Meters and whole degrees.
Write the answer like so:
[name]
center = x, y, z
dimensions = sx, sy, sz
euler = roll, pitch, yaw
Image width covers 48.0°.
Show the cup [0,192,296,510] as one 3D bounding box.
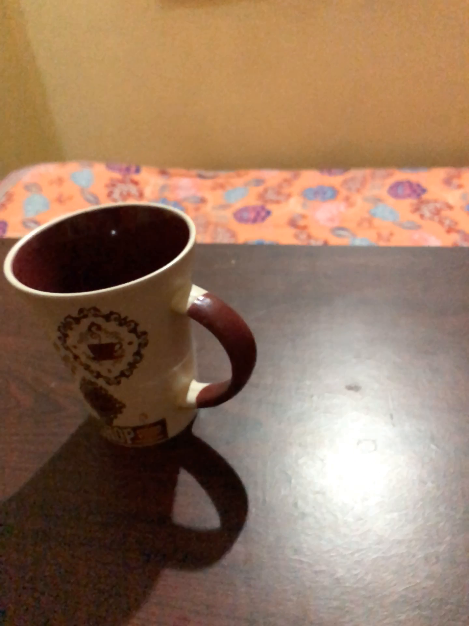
[cup]
center = -0.046, 0.009, 0.278
dimensions = 0.120, 0.099, 0.101
euler = 15, 40, 30
